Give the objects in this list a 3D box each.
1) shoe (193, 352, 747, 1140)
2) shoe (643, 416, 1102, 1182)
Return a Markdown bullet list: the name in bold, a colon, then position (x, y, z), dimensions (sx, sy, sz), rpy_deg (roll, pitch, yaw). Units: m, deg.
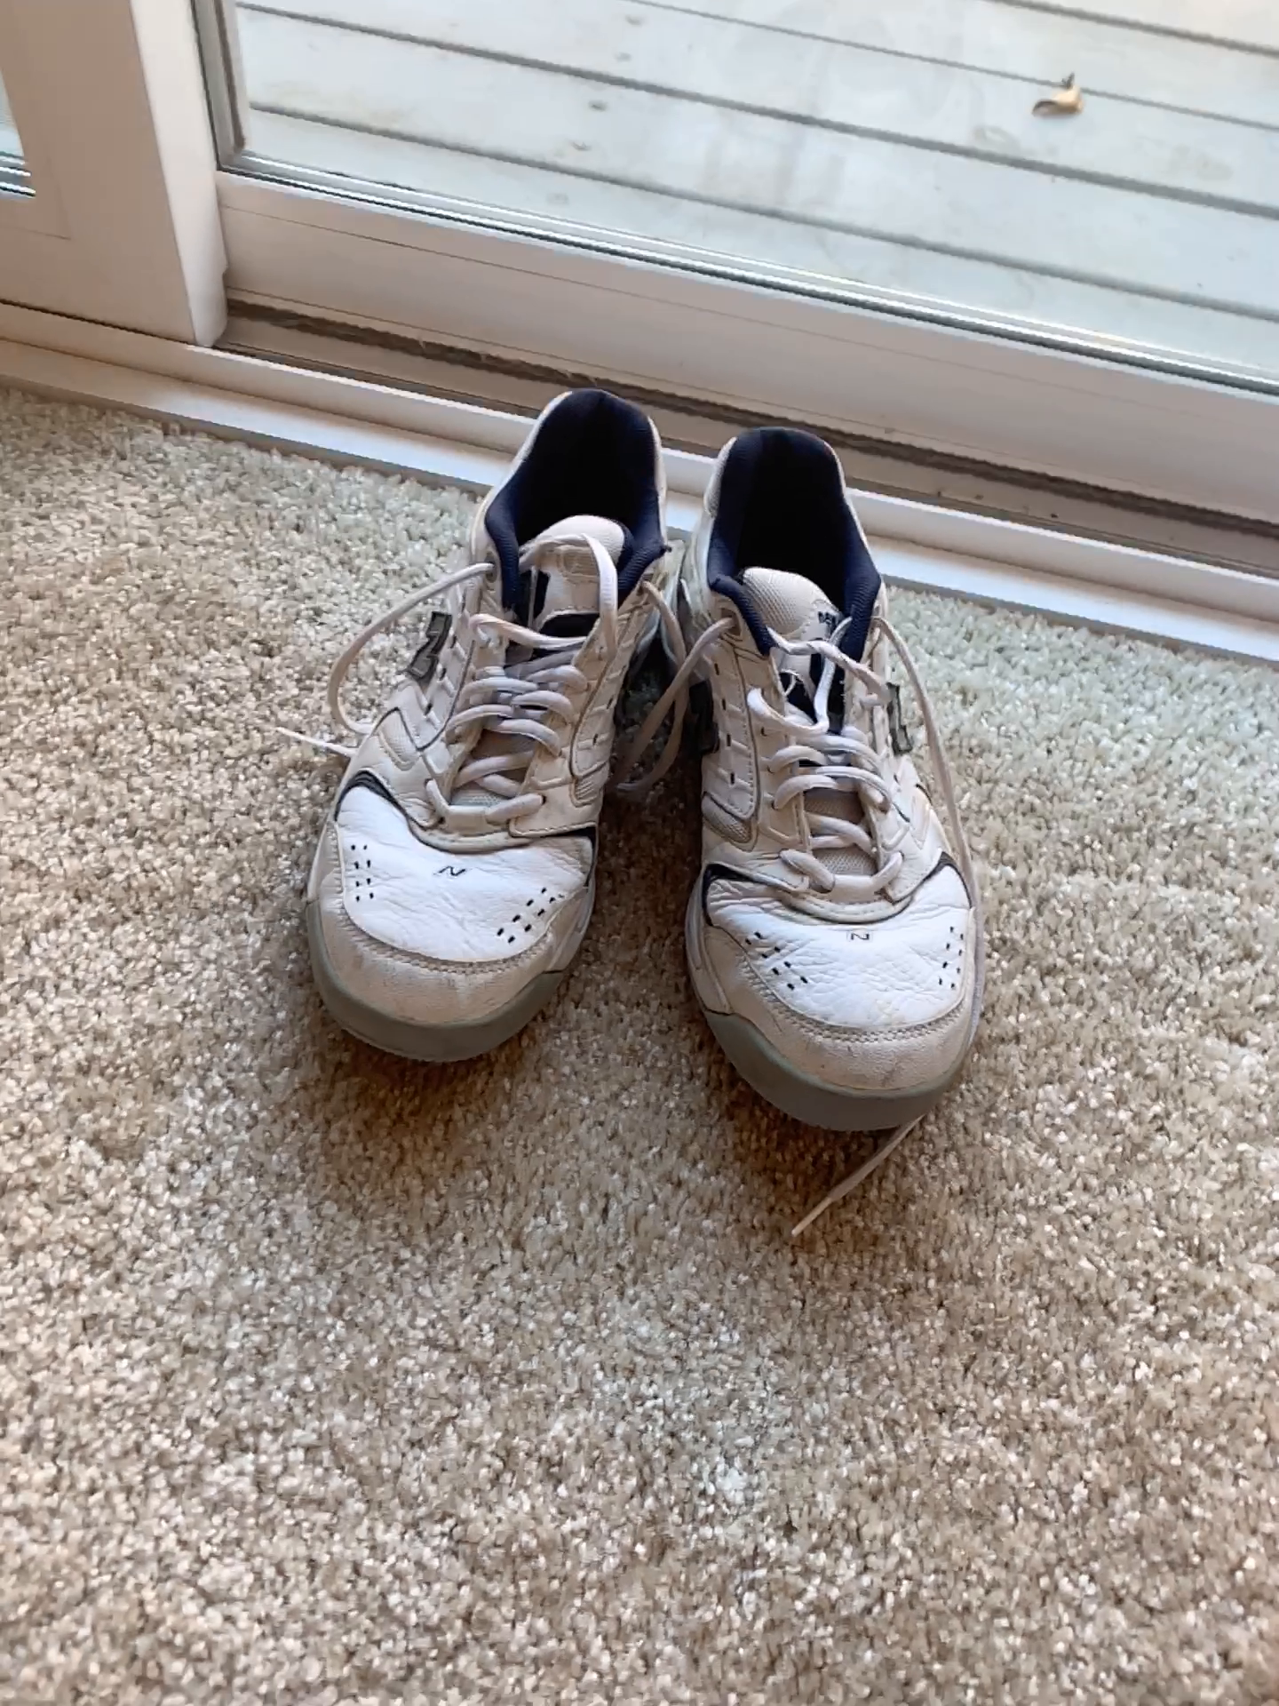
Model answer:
- **shoe**: position (-0.046, -0.052, 0.482), dimensions (0.110, 0.100, 0.271), rpy_deg (14, 54, 3)
- **shoe**: position (0.068, -0.030, 0.503), dimensions (0.110, 0.110, 0.281), rpy_deg (1, 55, -6)
